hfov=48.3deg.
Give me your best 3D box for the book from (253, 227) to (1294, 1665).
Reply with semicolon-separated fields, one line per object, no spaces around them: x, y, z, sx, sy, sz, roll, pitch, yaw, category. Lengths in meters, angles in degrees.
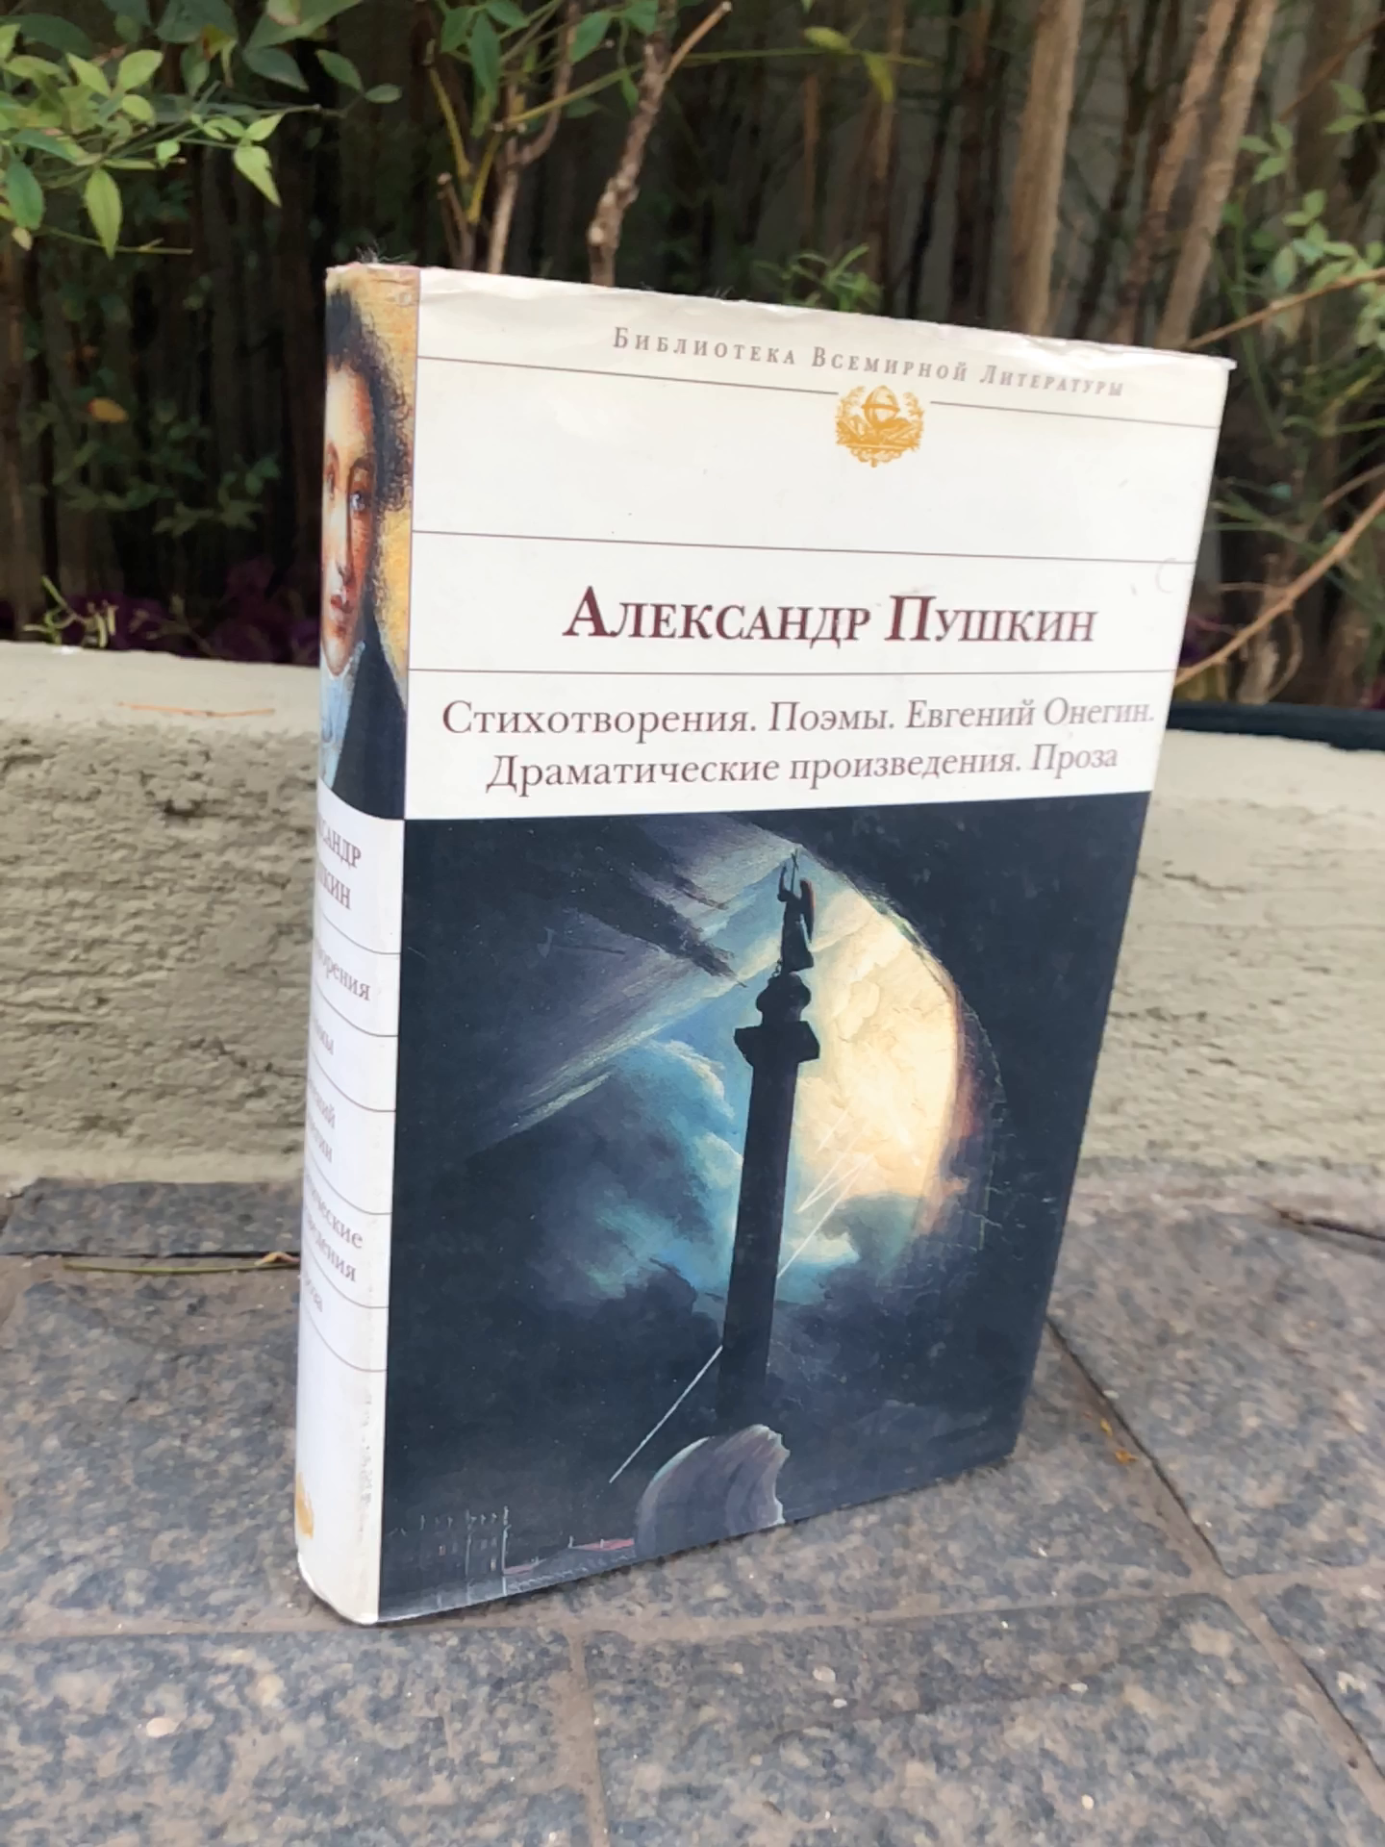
0.009;0.005;0.264;0.150;0.204;0.050;-3;19;-28;book
